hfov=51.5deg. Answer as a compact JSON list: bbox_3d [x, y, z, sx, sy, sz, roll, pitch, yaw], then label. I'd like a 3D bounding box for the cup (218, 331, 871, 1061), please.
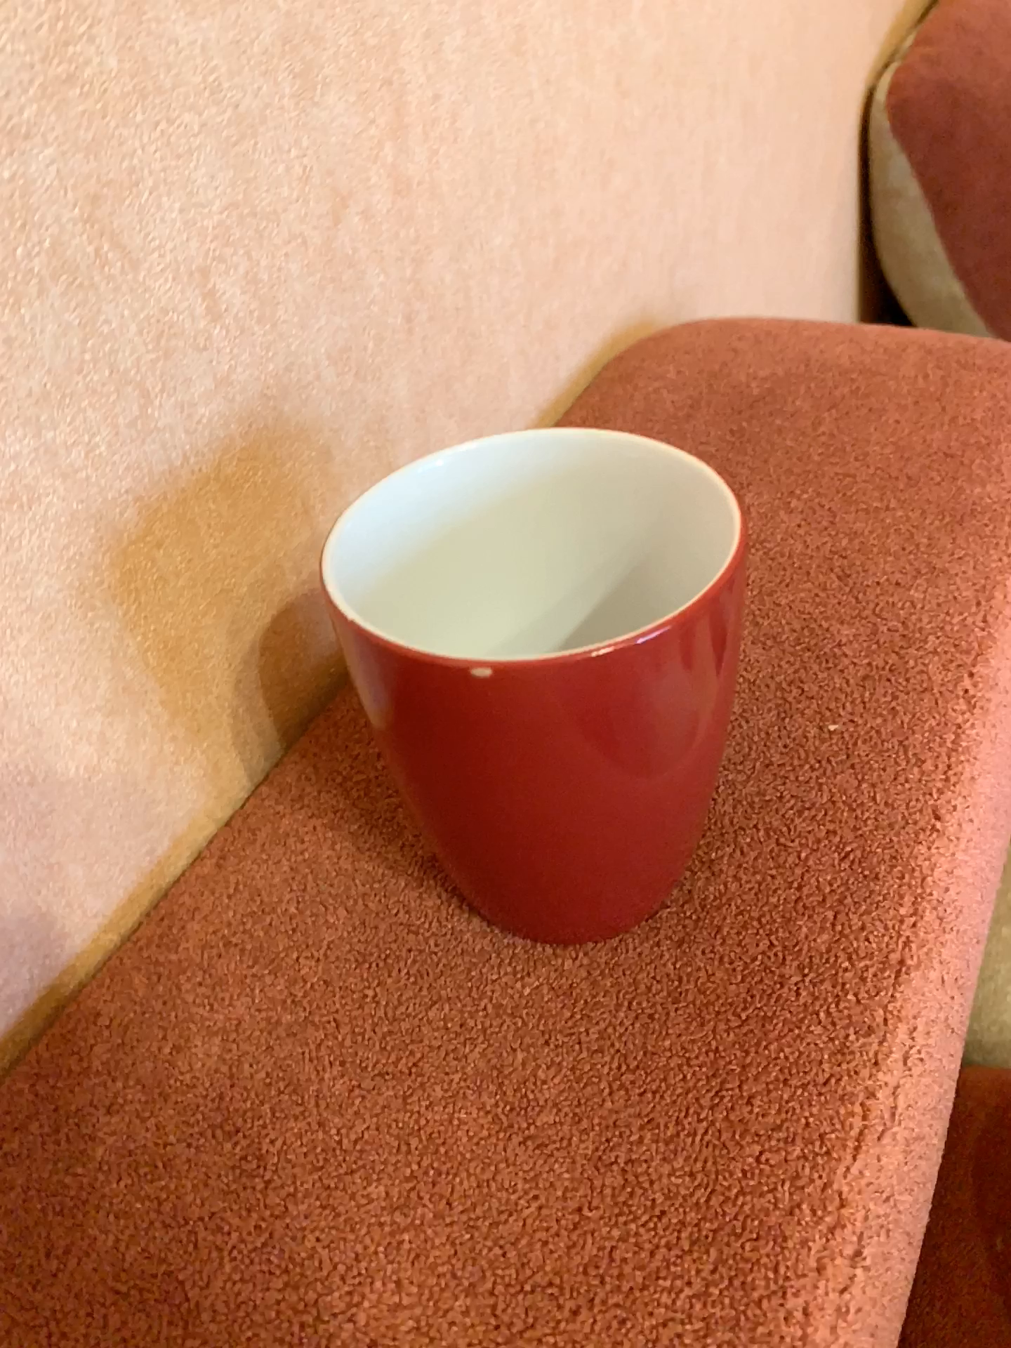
[{"bbox_3d":[0.019,-0.004,0.239,0.083,0.091,0.122,17,48,26],"label":"cup"}]
